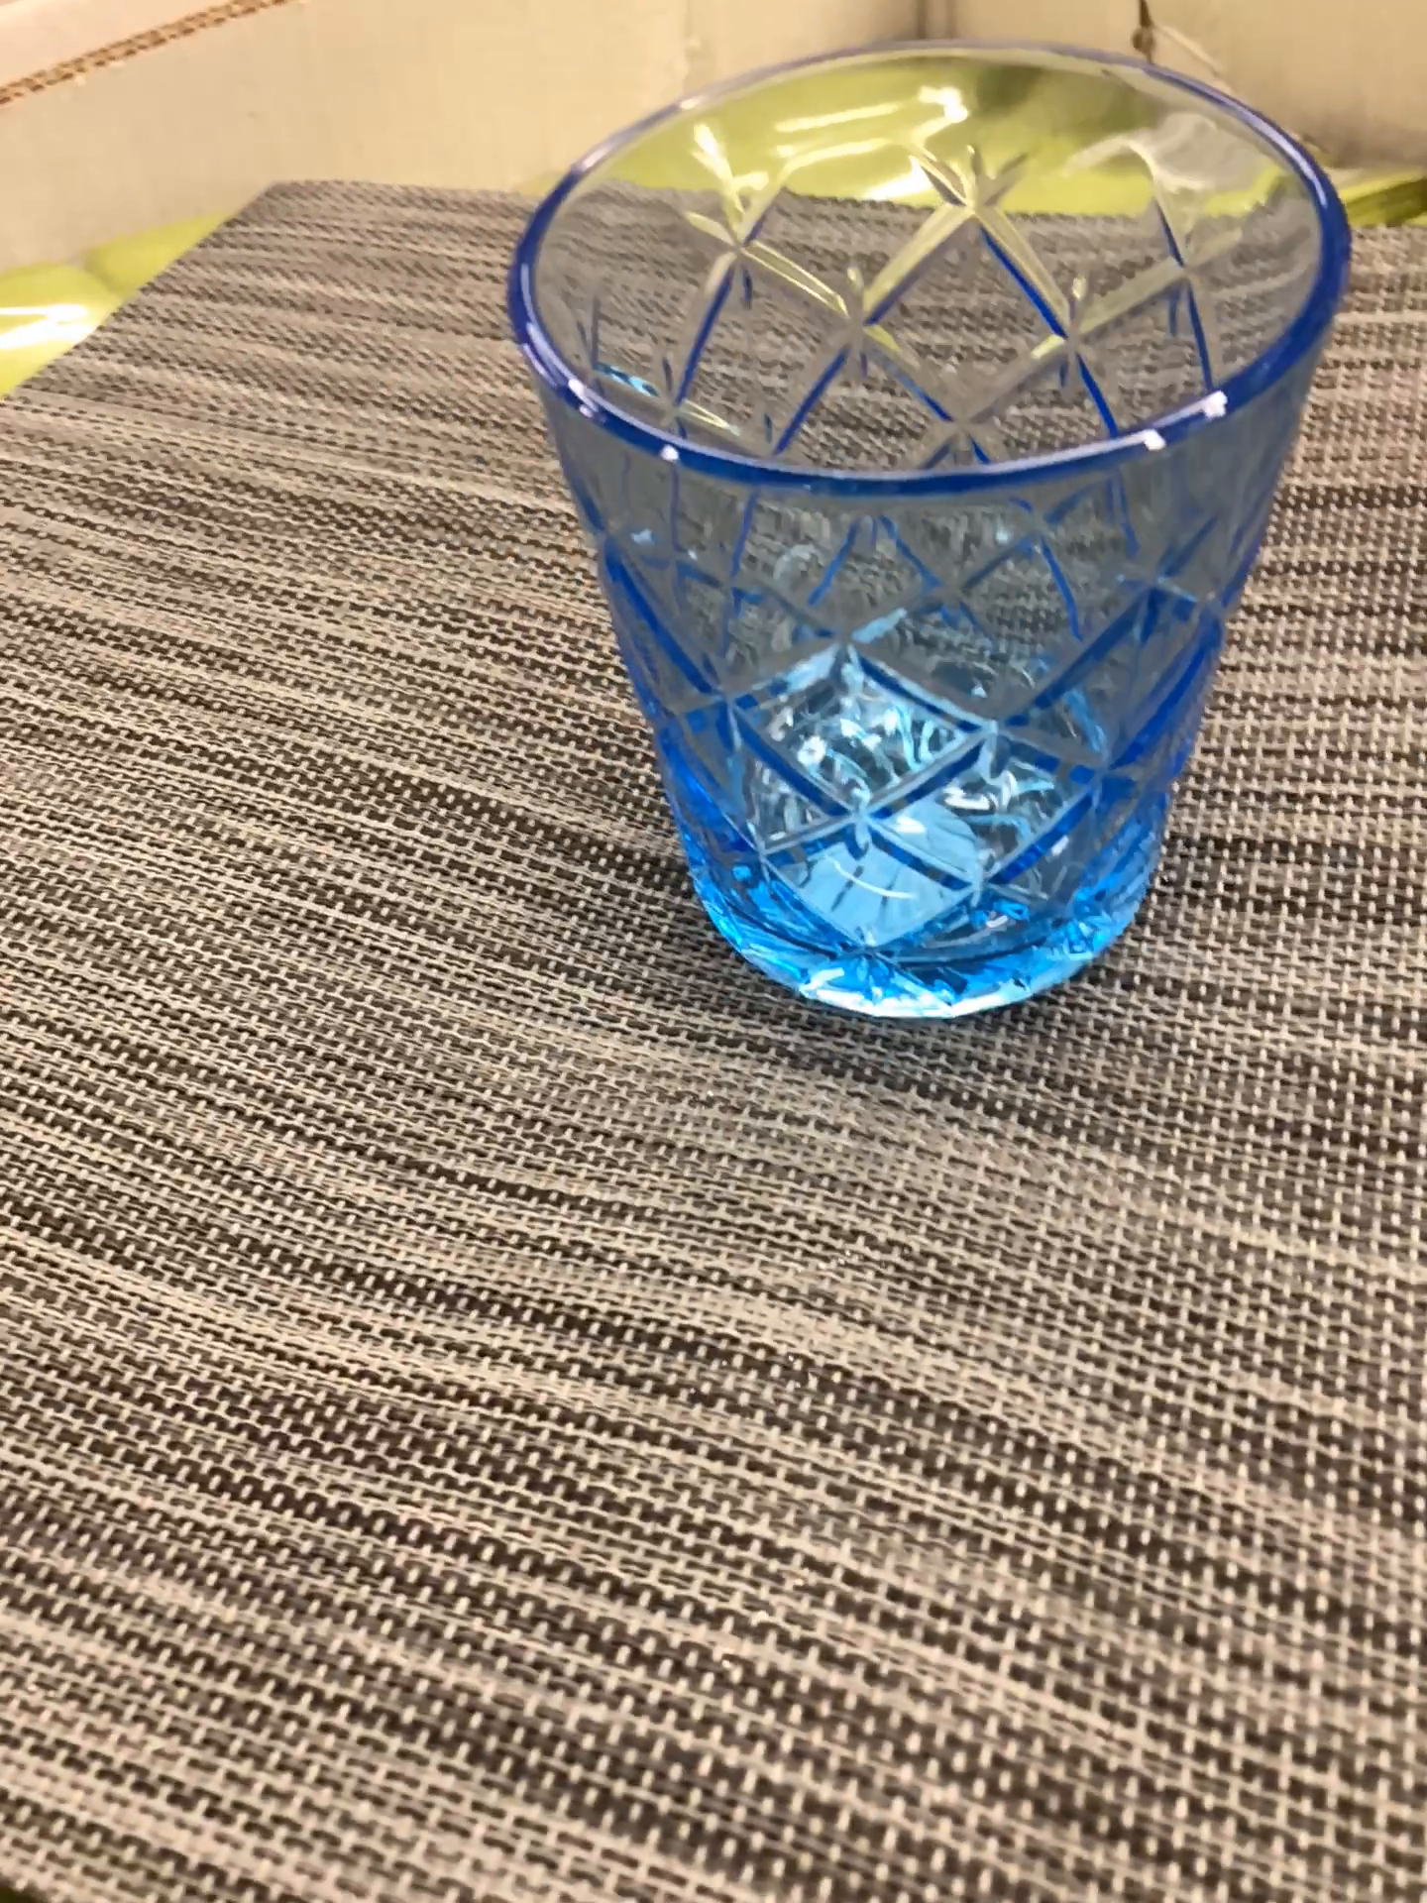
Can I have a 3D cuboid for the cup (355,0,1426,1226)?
[{"bbox_3d":[0.030,-0.044,0.183,0.080,0.090,0.090,30,60,28],"label":"cup"}]
